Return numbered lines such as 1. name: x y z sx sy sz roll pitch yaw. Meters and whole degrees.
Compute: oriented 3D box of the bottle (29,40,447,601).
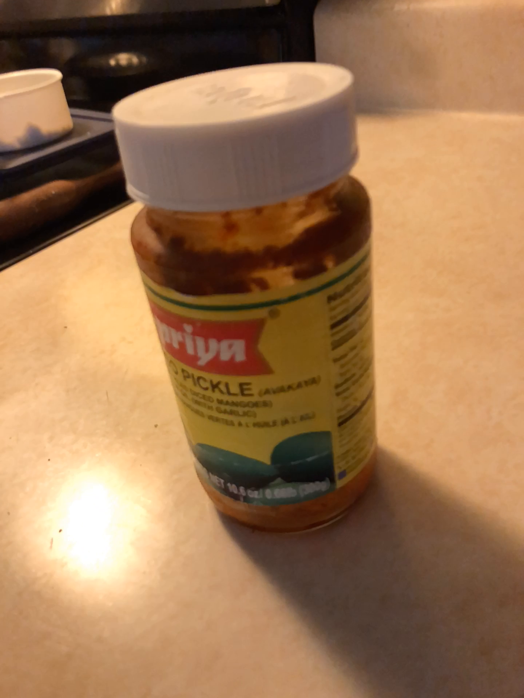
1. bottle: 0.002 -0.008 0.165 0.070 0.130 0.060 21 44 36
